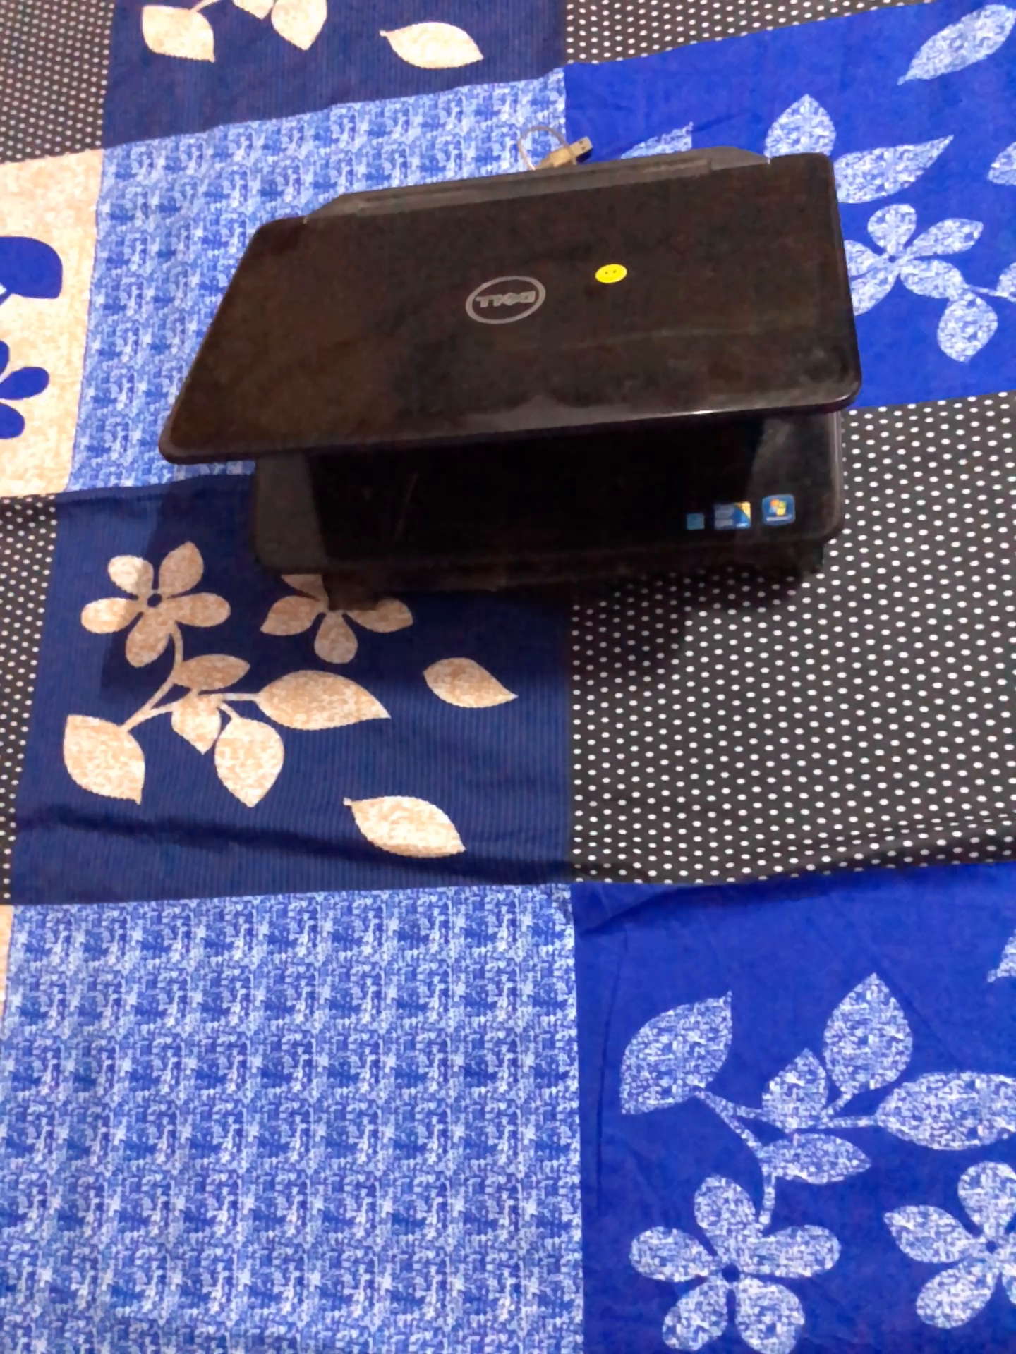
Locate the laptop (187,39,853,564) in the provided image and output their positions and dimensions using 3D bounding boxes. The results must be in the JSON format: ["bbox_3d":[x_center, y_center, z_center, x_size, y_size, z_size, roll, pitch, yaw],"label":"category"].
[{"bbox_3d":[0.005,-0.206,0.657,0.362,0.093,0.236,-2,80,12],"label":"laptop"}]
